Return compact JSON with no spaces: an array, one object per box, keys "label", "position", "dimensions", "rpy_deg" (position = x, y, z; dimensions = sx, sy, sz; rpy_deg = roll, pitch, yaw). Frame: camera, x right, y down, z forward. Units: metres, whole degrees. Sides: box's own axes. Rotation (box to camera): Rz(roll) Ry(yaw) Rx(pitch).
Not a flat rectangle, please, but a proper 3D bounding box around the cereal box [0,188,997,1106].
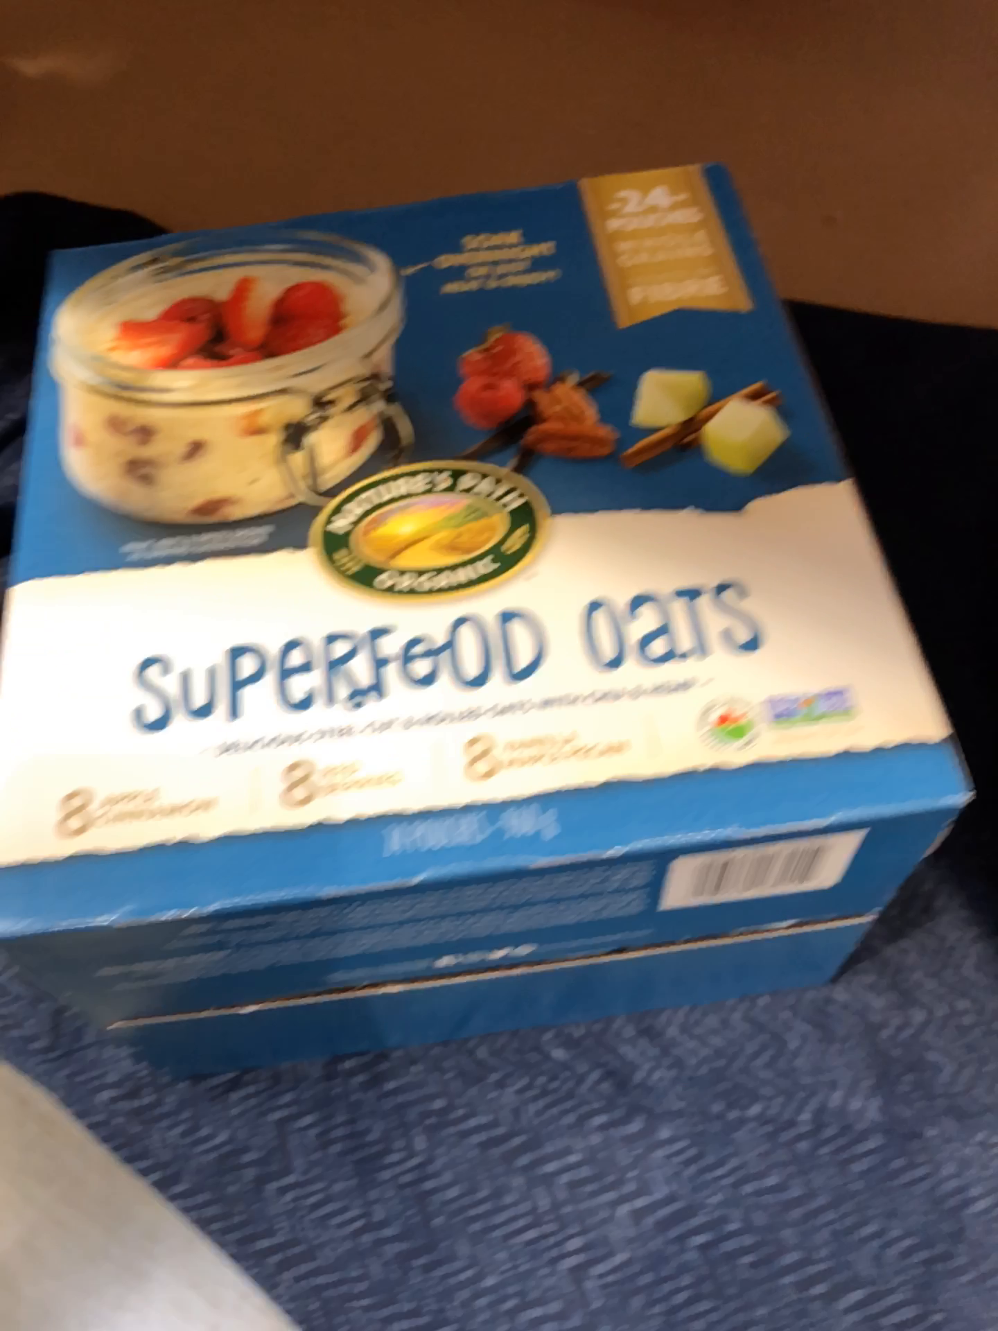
[{"label":"cereal box","position":[-0.012,-0.009,0.382],"dimensions":[0.250,0.150,0.240],"rpy_deg":[-8,58,-3]}]
